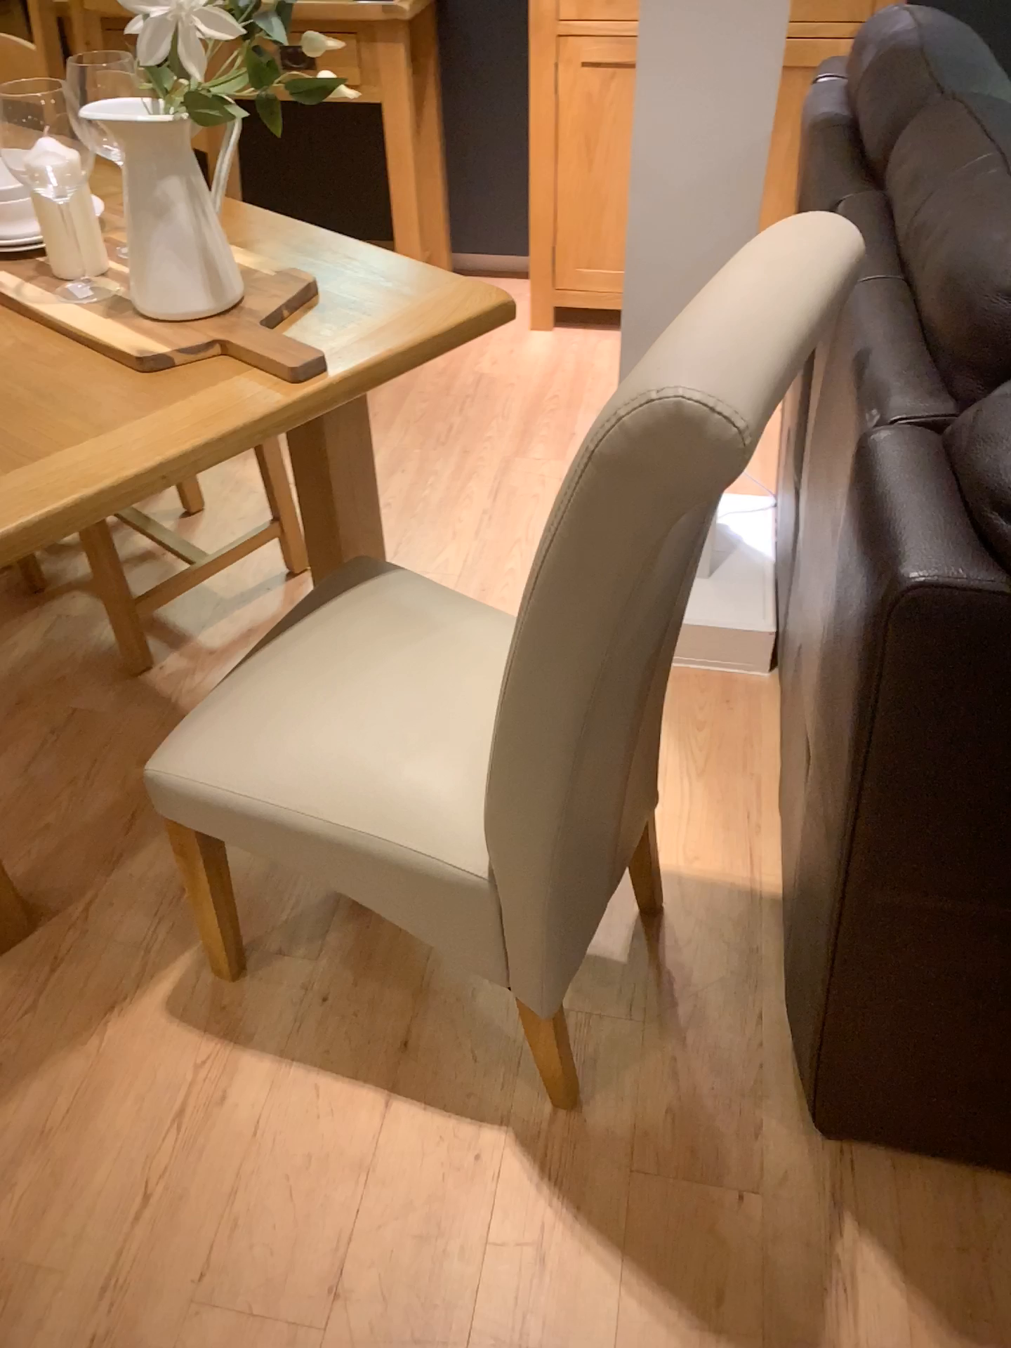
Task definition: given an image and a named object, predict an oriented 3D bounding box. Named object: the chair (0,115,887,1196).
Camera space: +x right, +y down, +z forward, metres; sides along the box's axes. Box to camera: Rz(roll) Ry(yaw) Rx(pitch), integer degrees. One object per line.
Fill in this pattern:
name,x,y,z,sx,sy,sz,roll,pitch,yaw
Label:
chair,-0.061,0.000,1.119,0.635,0.943,0.479,17,45,21
